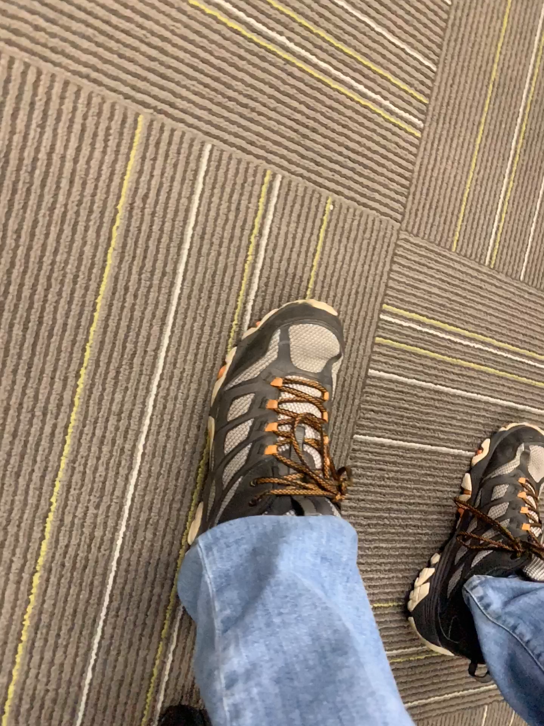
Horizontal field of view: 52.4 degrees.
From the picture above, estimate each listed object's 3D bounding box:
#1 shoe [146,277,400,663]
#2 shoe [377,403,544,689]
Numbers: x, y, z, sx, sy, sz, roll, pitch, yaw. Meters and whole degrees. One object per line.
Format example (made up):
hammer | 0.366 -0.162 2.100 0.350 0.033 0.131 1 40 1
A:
shoe | 0.001 0.095 0.522 0.126 0.095 0.323 17 88 -33
shoe | 0.284 0.227 0.722 0.123 0.095 0.322 41 75 -30
